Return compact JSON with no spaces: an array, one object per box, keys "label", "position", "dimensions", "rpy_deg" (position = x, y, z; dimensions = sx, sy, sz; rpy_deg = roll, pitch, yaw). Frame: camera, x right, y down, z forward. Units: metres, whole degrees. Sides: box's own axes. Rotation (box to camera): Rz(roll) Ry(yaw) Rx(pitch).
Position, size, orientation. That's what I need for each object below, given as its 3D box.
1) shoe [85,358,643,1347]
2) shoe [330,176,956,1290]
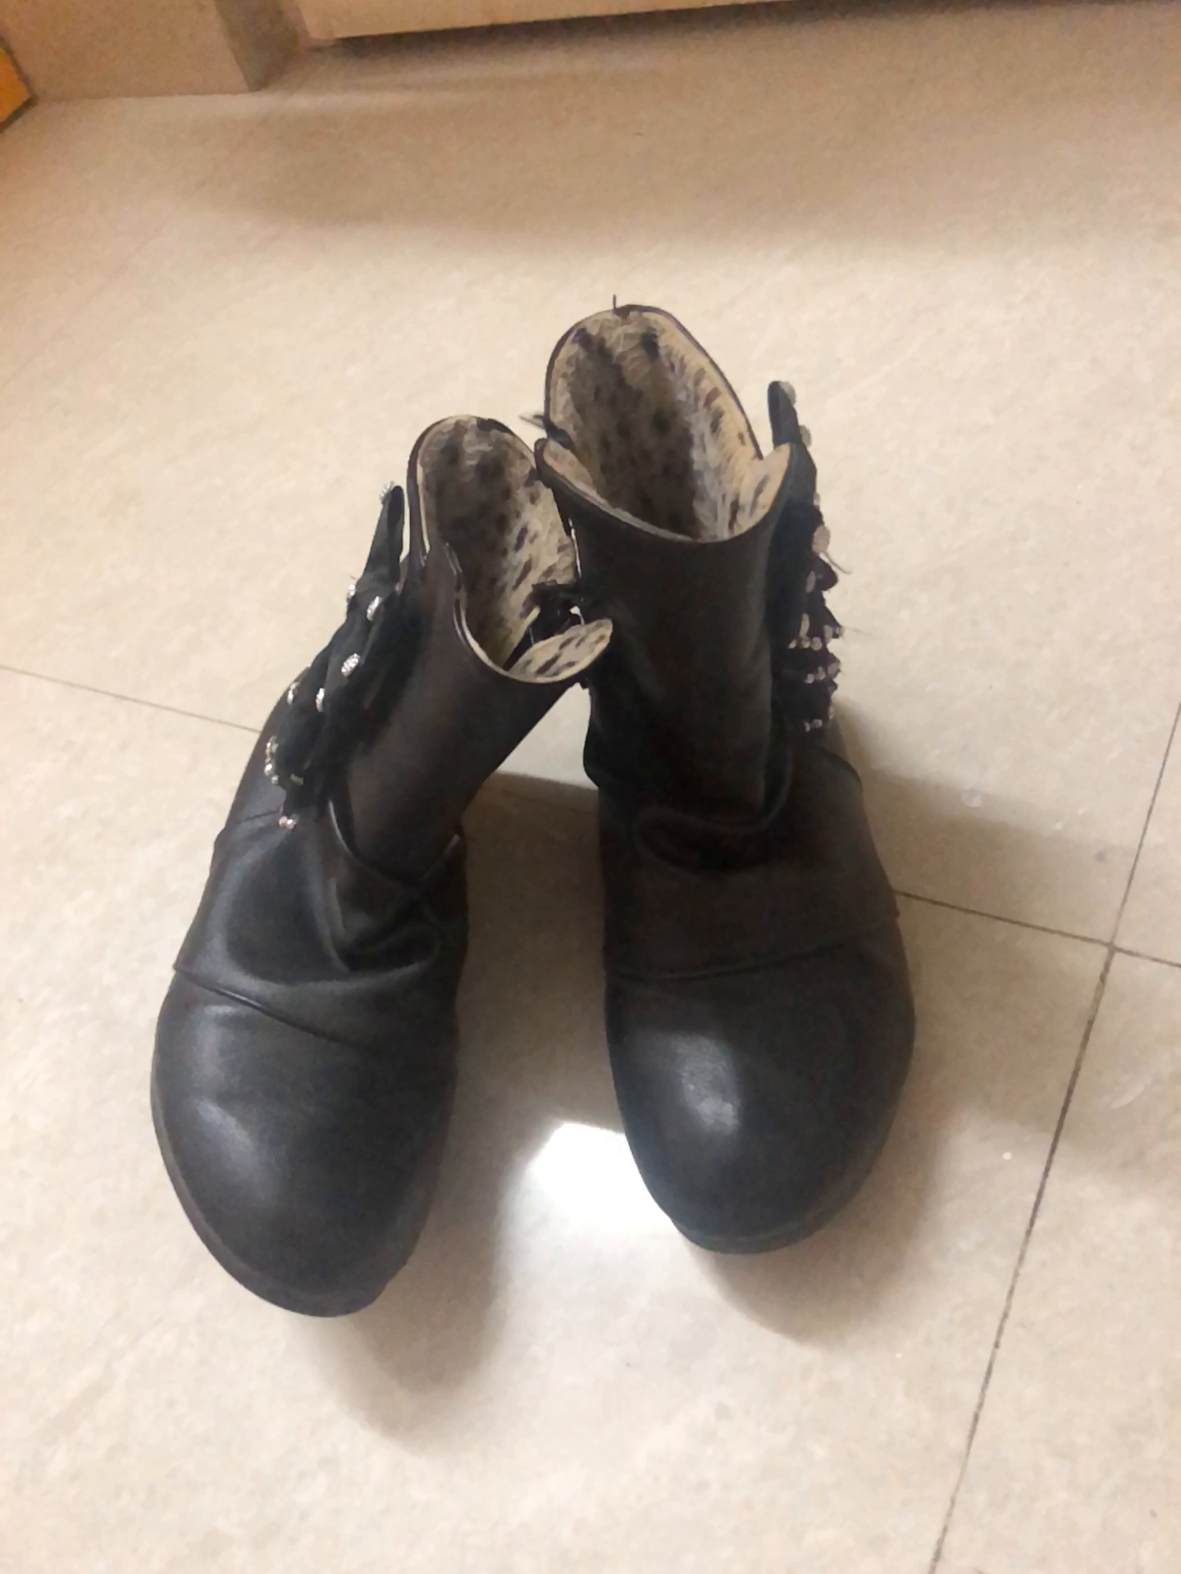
[{"label":"shoe","position":[-0.058,0.018,0.339],"dimensions":[0.090,0.139,0.201],"rpy_deg":[12,50,-16]},{"label":"shoe","position":[0.015,-0.016,0.319],"dimensions":[0.090,0.139,0.221],"rpy_deg":[-12,51,10]}]
